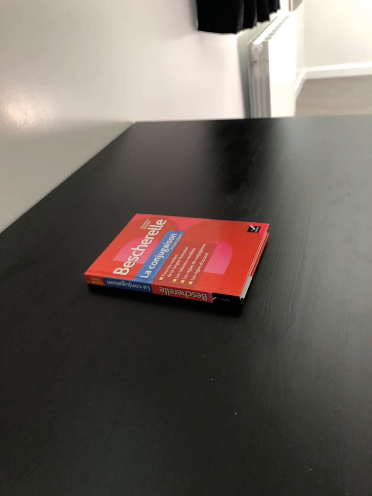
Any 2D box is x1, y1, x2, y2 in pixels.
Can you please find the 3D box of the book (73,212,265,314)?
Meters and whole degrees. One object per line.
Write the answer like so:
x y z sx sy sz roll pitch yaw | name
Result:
-0.017 0.008 0.531 0.203 0.020 0.151 6 38 23 | book
